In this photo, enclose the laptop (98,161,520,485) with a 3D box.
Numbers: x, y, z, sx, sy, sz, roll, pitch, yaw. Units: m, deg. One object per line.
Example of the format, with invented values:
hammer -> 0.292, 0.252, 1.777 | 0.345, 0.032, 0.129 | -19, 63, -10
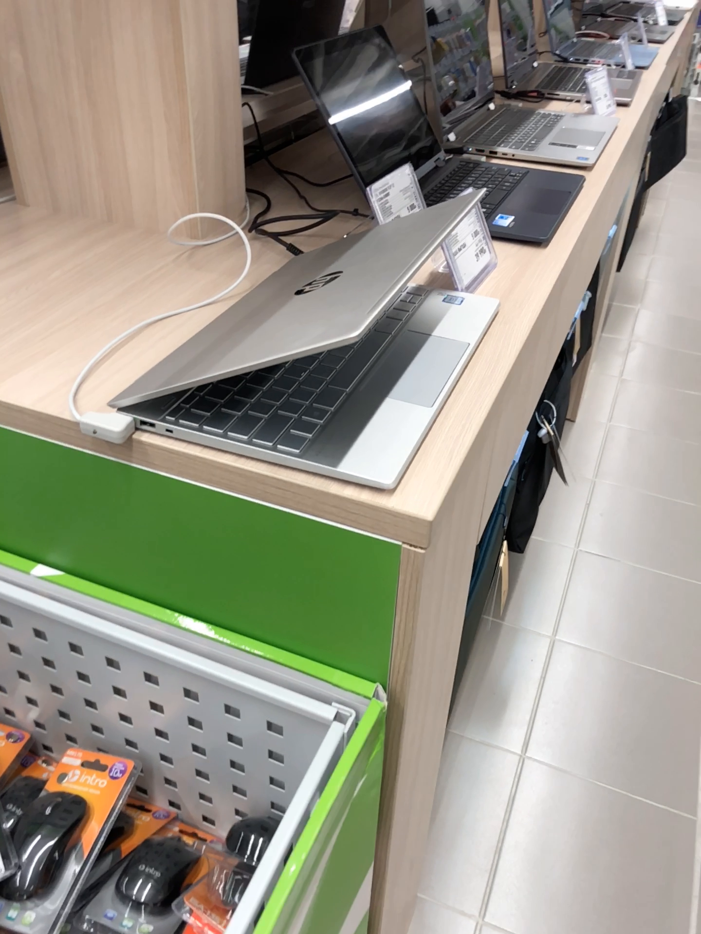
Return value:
laptop -> -0.008, -0.142, 0.618 | 0.206, 0.095, 0.323 | 16, 38, 16
